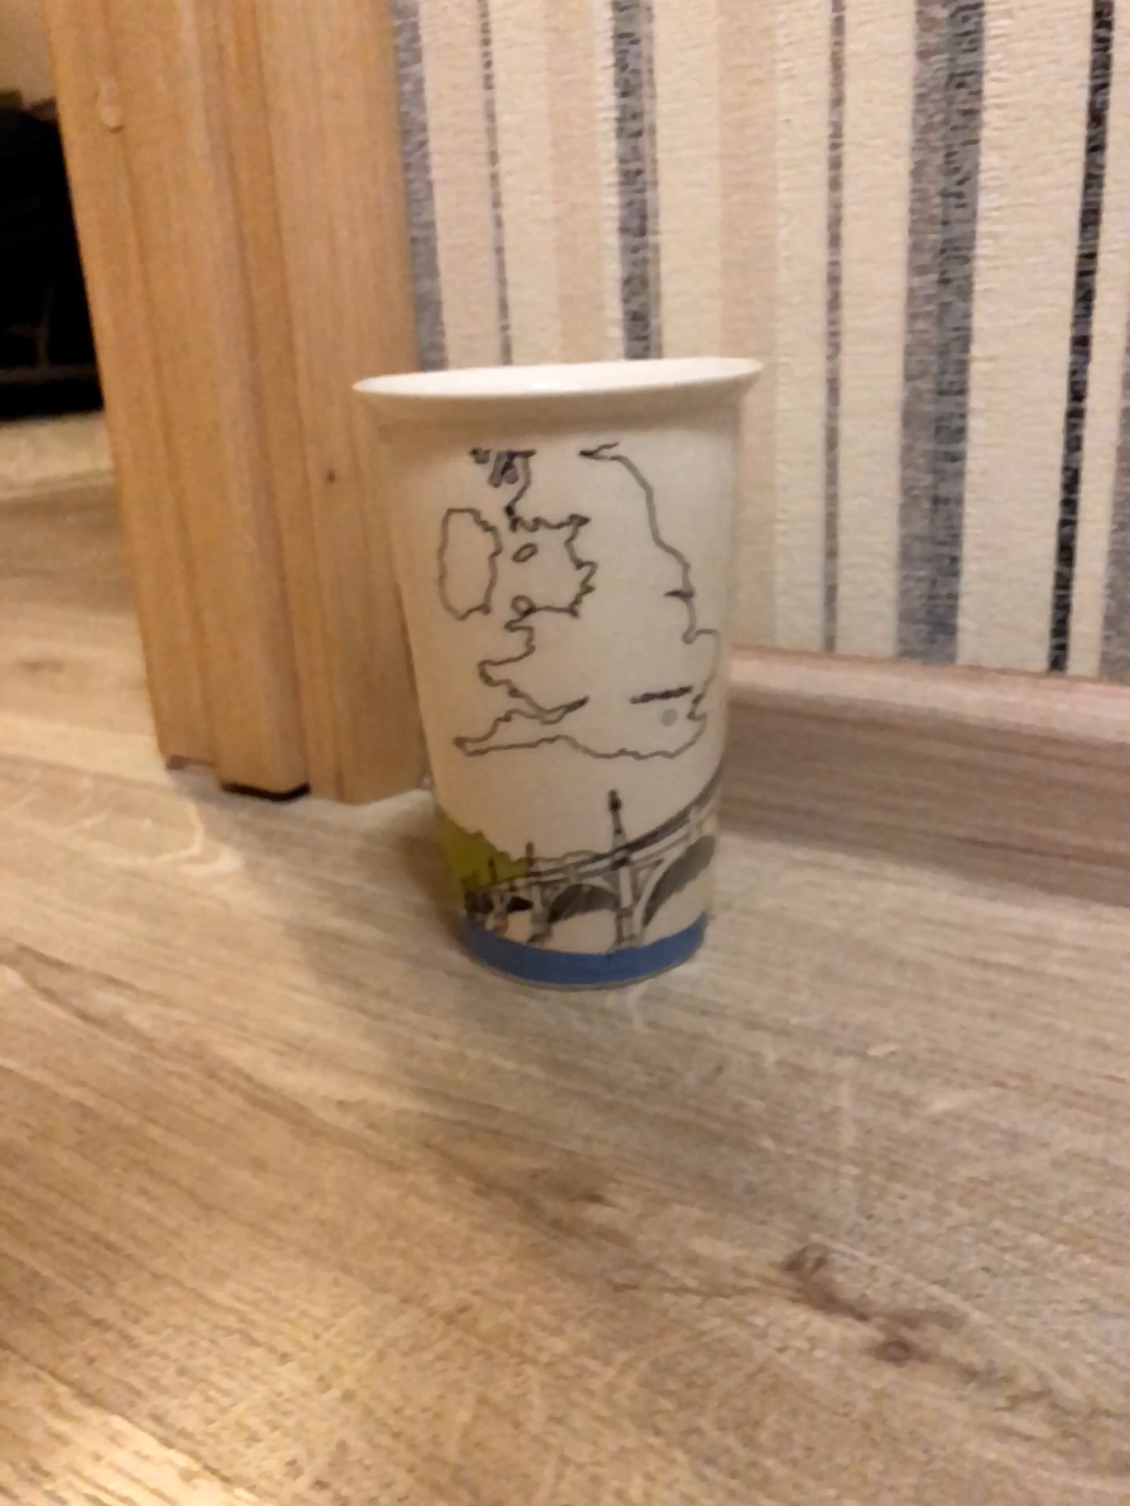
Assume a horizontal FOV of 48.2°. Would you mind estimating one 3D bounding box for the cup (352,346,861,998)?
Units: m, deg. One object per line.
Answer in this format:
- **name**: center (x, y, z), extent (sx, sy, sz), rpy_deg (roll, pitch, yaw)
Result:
- **cup**: center (0.012, -0.025, 0.306), extent (0.097, 0.133, 0.096), rpy_deg (-3, 19, 1)
